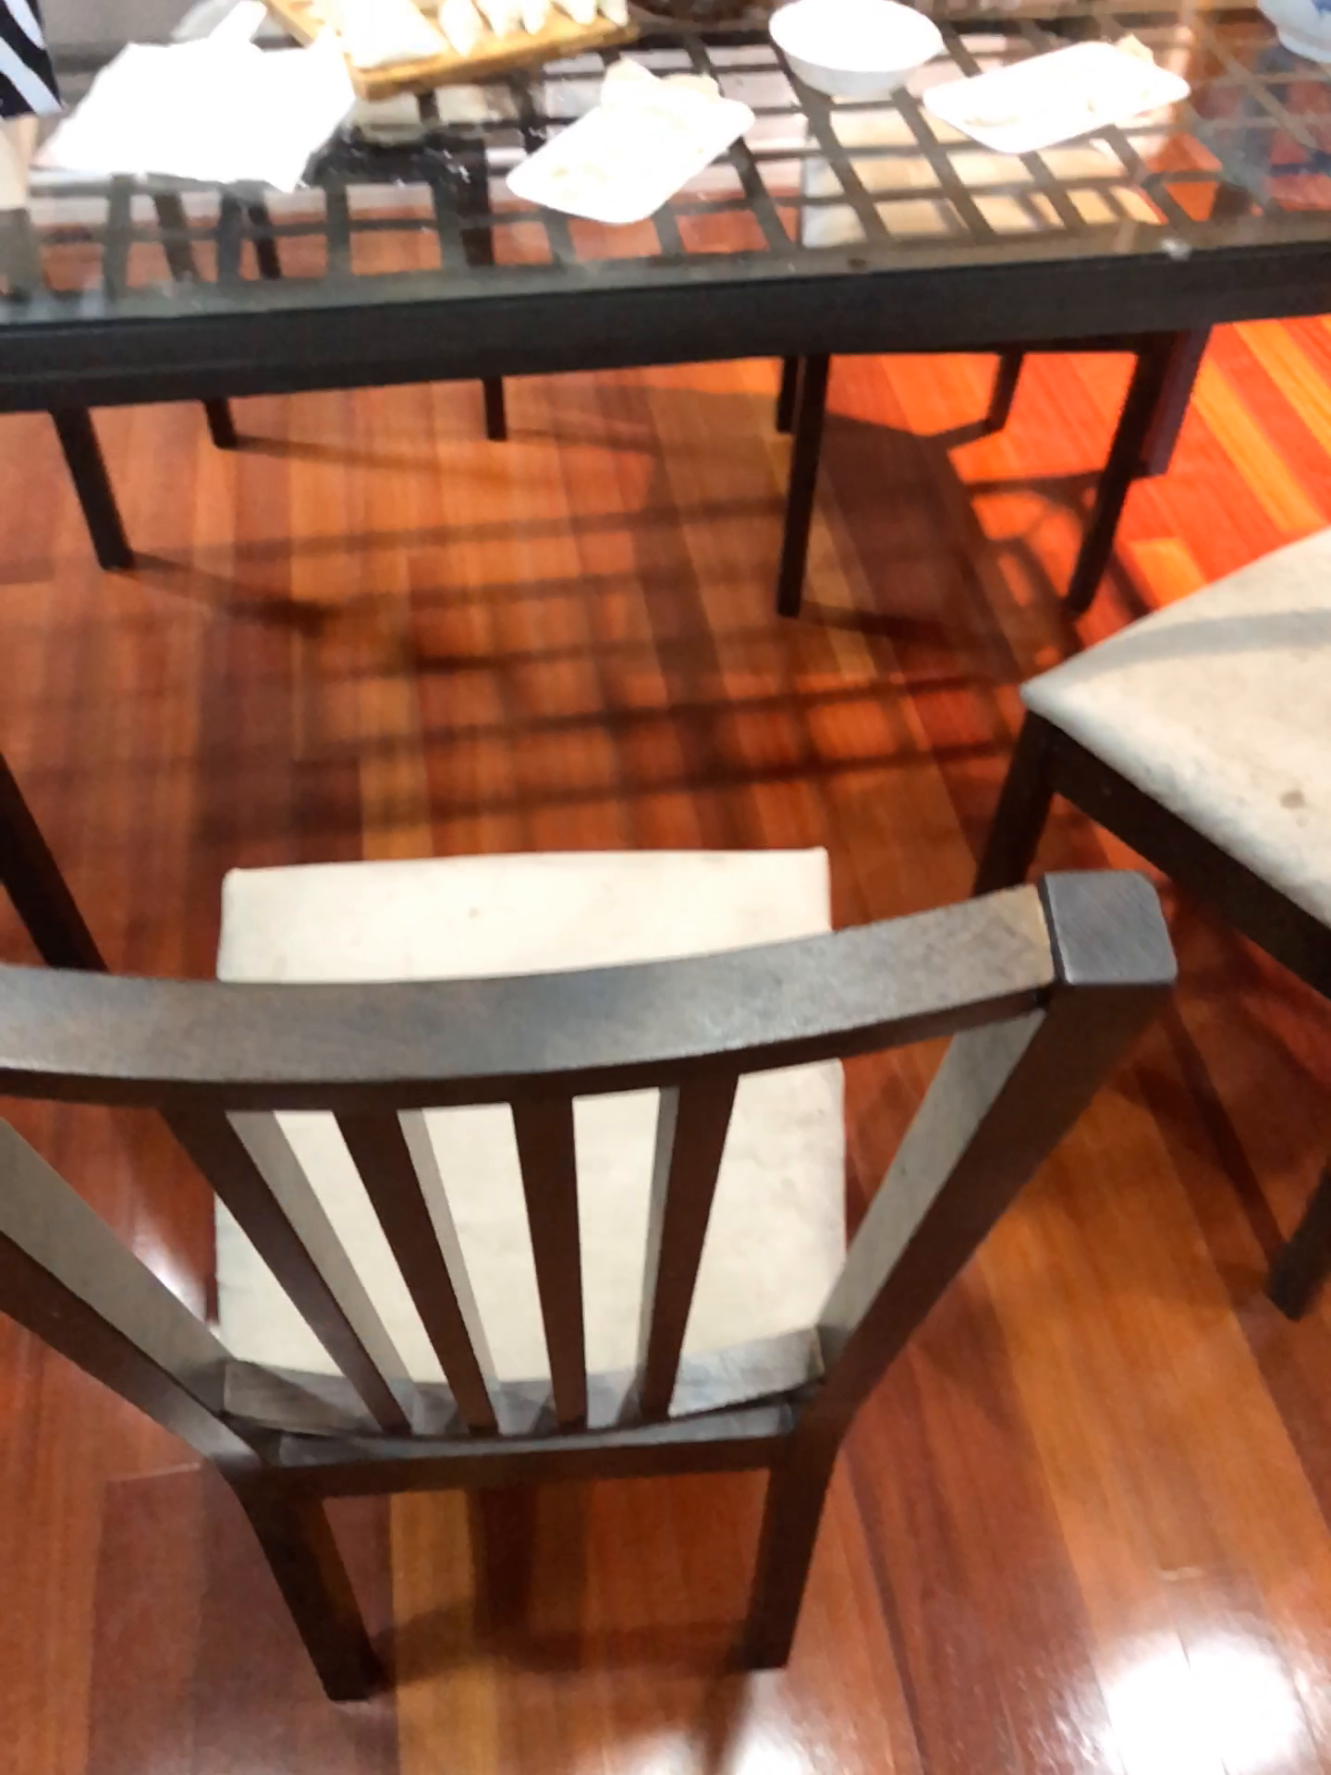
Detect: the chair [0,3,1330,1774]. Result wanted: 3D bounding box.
[{"bbox_3d":[-0.061,0.145,0.883,0.490,1.054,0.513,-2,51,-3],"label":"chair"}]
